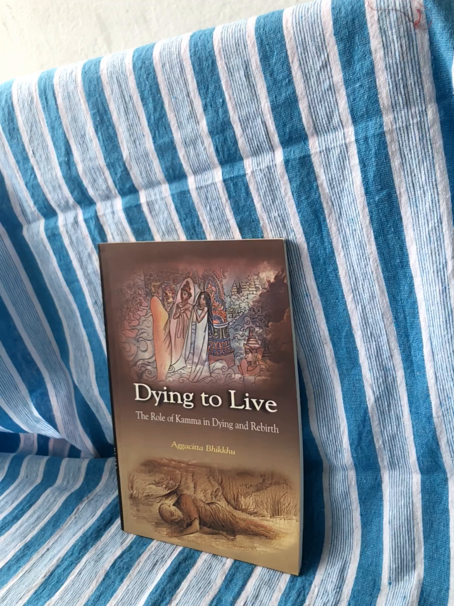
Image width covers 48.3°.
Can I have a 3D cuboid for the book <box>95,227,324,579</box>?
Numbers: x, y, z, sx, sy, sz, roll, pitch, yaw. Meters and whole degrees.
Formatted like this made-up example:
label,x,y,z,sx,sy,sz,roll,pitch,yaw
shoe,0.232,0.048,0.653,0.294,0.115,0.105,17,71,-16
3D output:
label,x,y,z,sx,sy,sz,roll,pitch,yaw
book,-0.016,0.057,0.332,0.150,0.210,0.020,3,6,22
